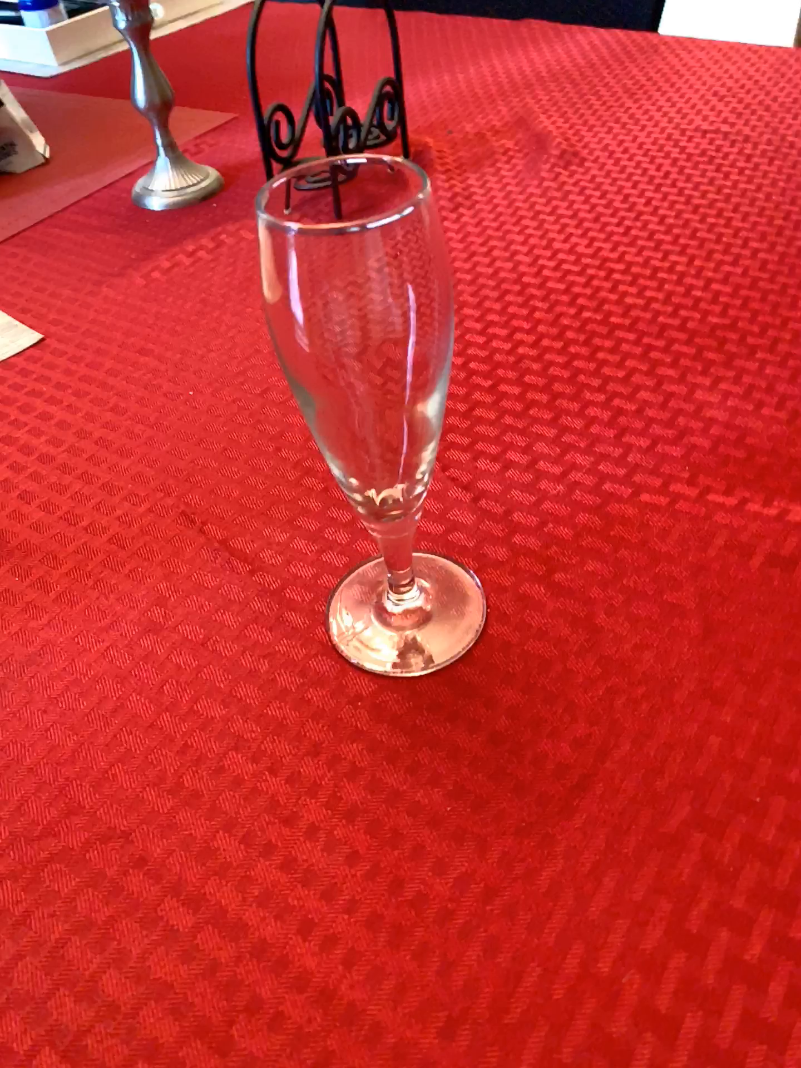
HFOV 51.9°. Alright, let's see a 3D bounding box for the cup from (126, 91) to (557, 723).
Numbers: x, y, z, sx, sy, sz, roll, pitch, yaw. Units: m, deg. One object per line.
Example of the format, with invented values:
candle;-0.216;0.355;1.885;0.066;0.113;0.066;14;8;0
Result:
cup;-0.007;-0.034;0.277;0.080;0.179;0.080;-4;45;4
